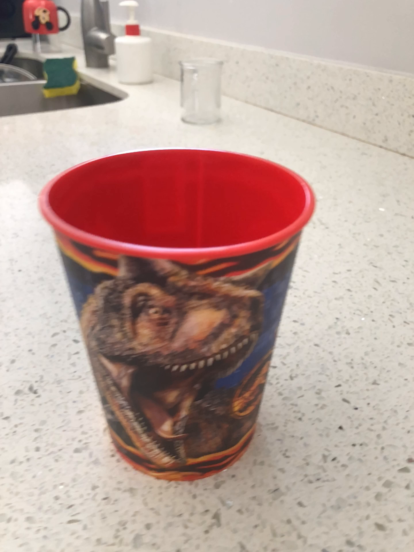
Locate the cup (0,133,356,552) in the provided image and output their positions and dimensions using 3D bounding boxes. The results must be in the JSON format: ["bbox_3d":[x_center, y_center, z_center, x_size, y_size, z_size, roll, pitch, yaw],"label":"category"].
[{"bbox_3d":[-0.018,0.016,0.178,0.090,0.110,0.090,0,32,0],"label":"cup"}]
